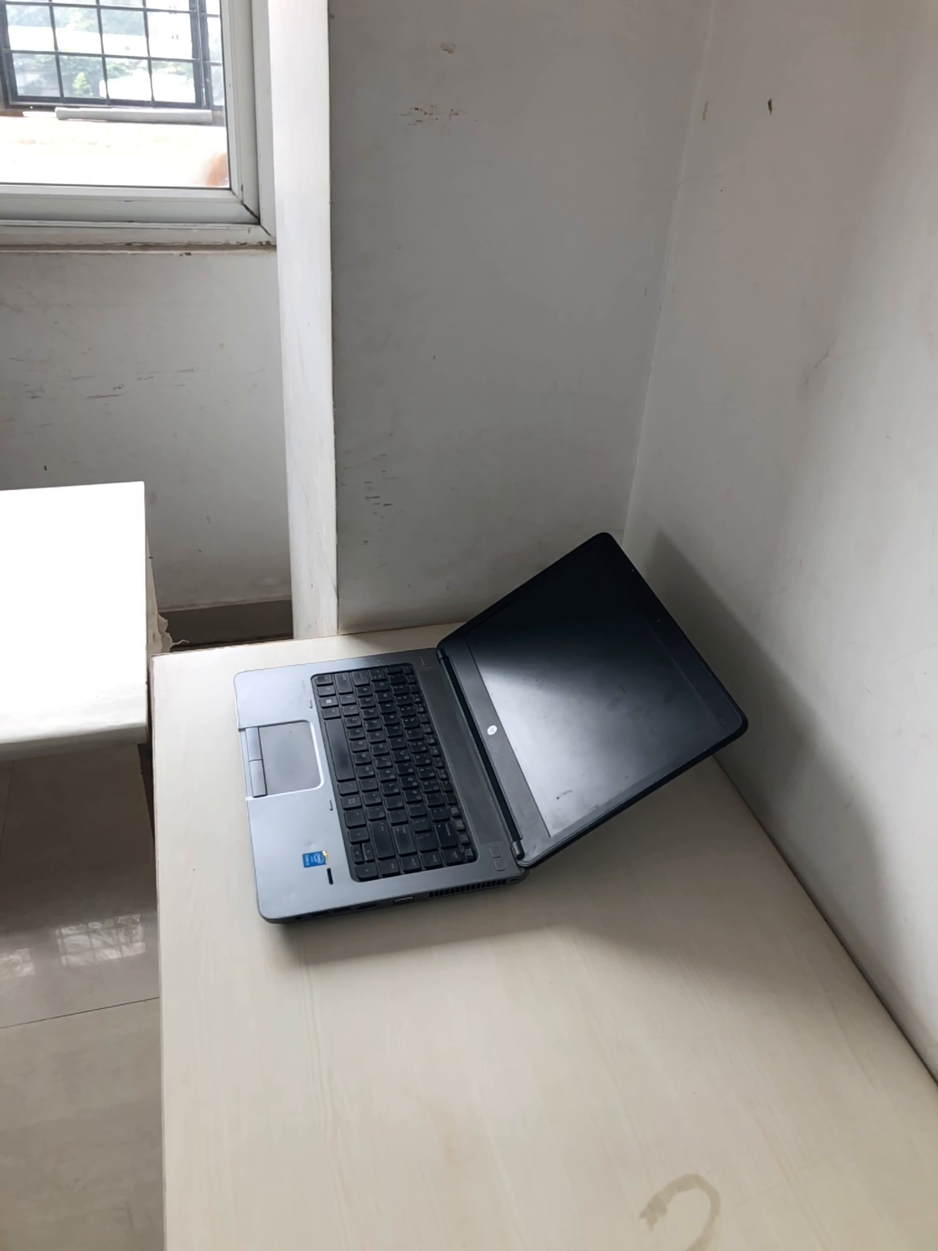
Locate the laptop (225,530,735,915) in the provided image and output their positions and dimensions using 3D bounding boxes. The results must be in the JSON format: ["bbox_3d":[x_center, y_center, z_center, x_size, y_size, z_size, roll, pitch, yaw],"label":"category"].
[{"bbox_3d":[-0.013,0.069,1.004,0.405,0.137,0.329,-6,37,-14],"label":"laptop"}]
